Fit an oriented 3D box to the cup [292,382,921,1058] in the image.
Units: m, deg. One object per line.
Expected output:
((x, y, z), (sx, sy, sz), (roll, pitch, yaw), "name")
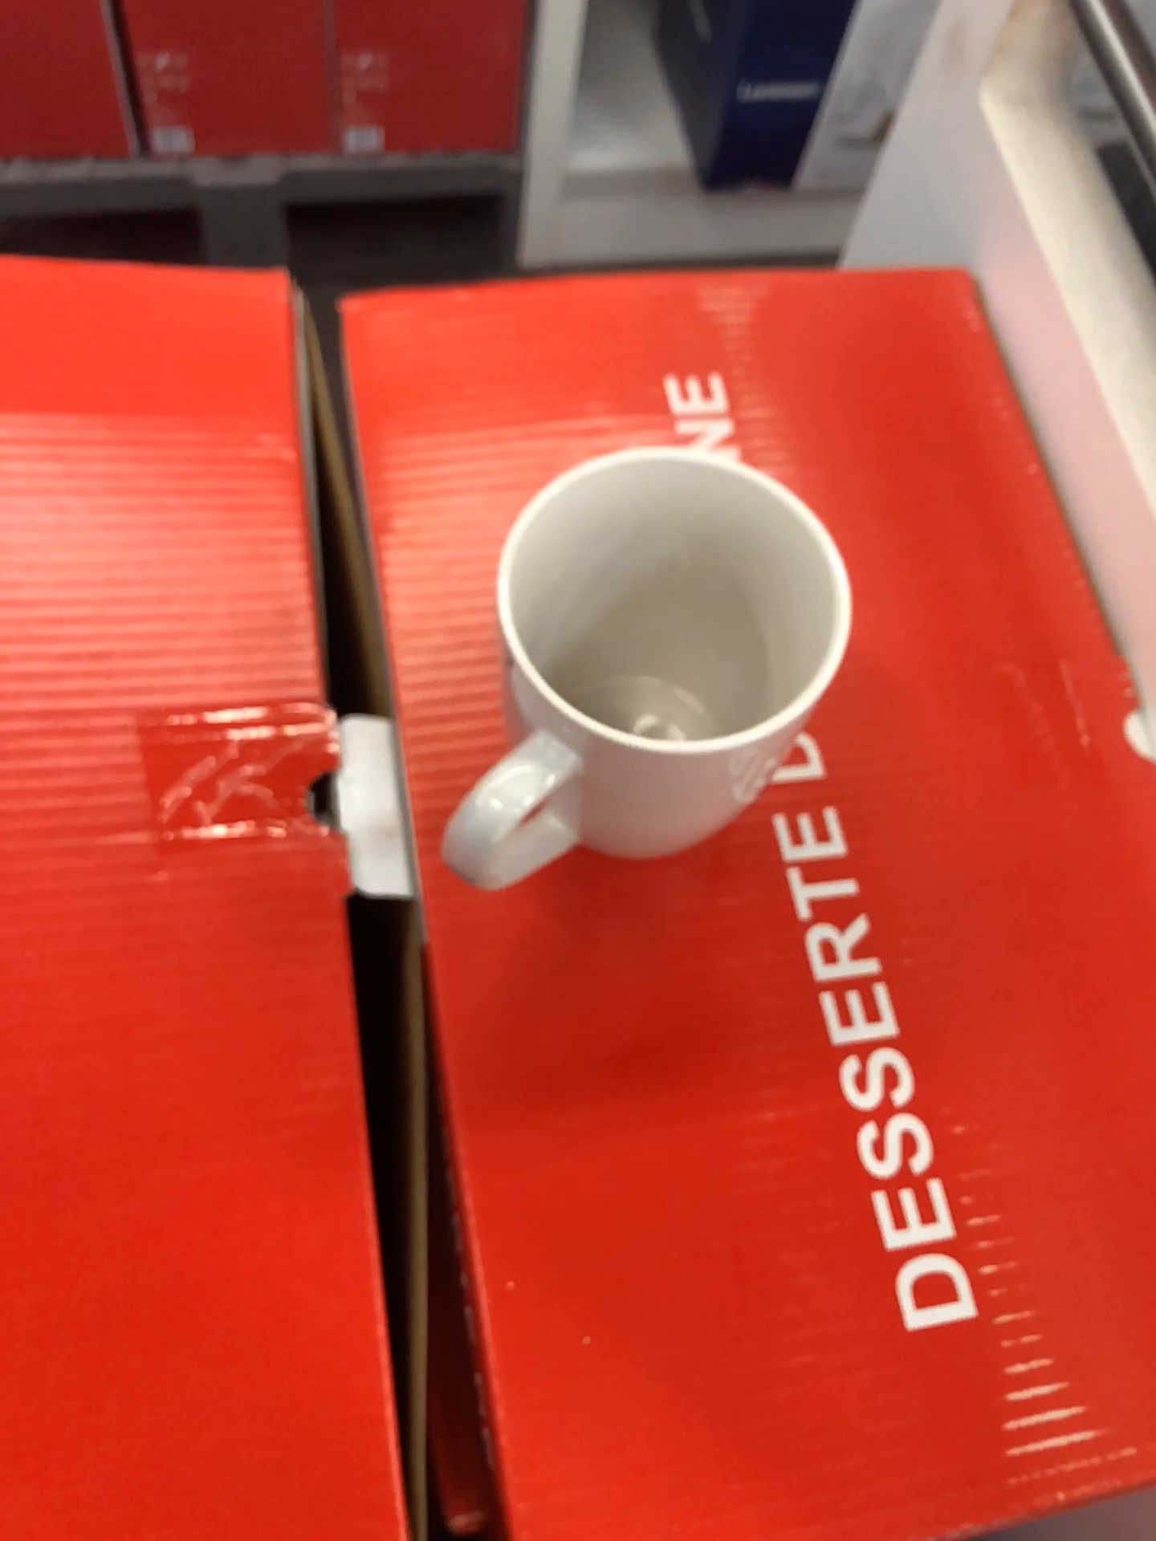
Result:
((0.005, -0.011, 0.344), (0.092, 0.092, 0.124), (37, 66, 9), "cup")
